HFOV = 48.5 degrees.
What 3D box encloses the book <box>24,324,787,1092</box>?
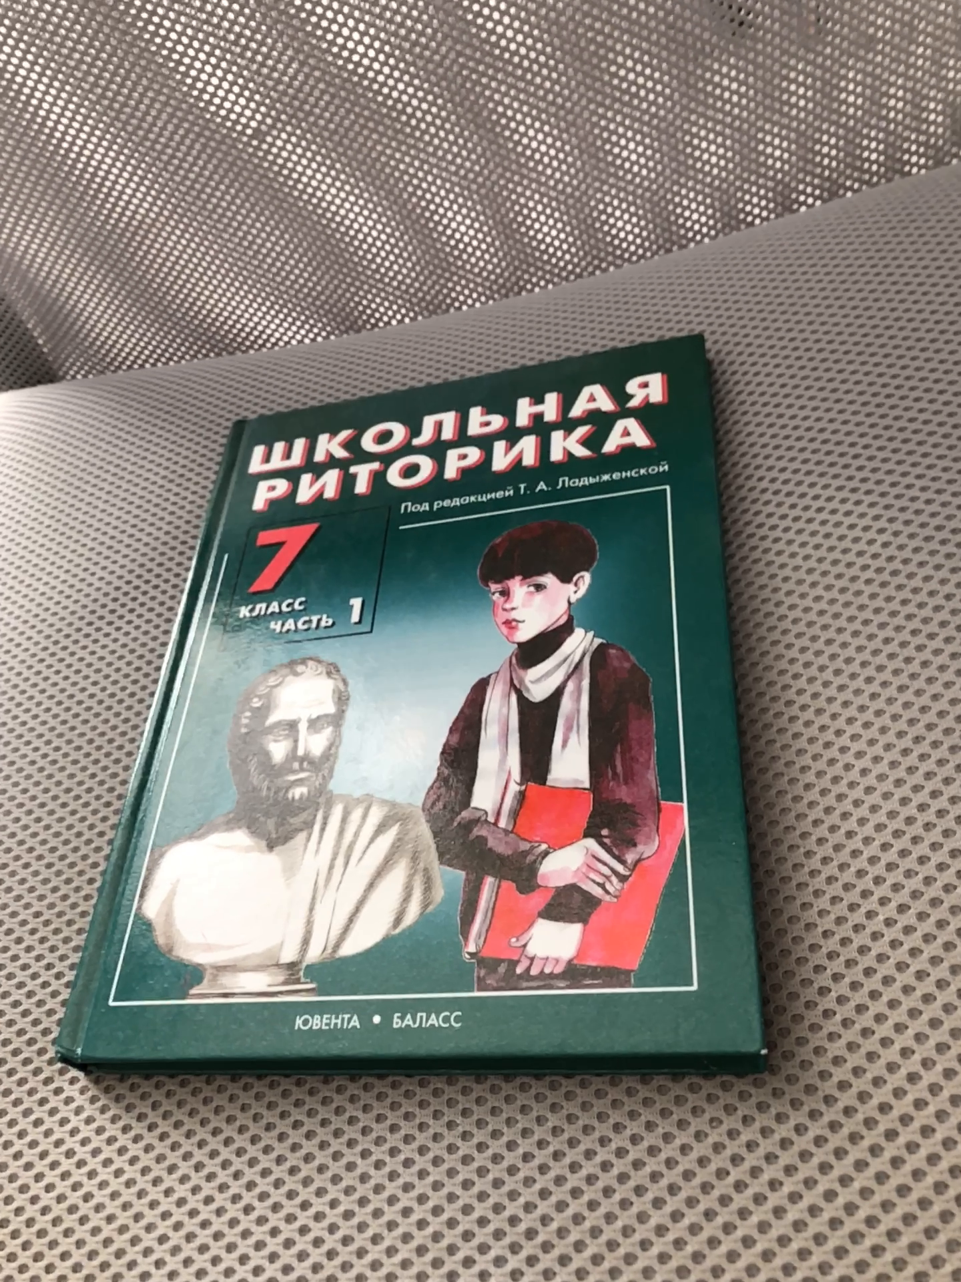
[{"bbox_3d":[-0.014,0.008,0.294,0.167,0.030,0.211,-7,53,15],"label":"book"}]
